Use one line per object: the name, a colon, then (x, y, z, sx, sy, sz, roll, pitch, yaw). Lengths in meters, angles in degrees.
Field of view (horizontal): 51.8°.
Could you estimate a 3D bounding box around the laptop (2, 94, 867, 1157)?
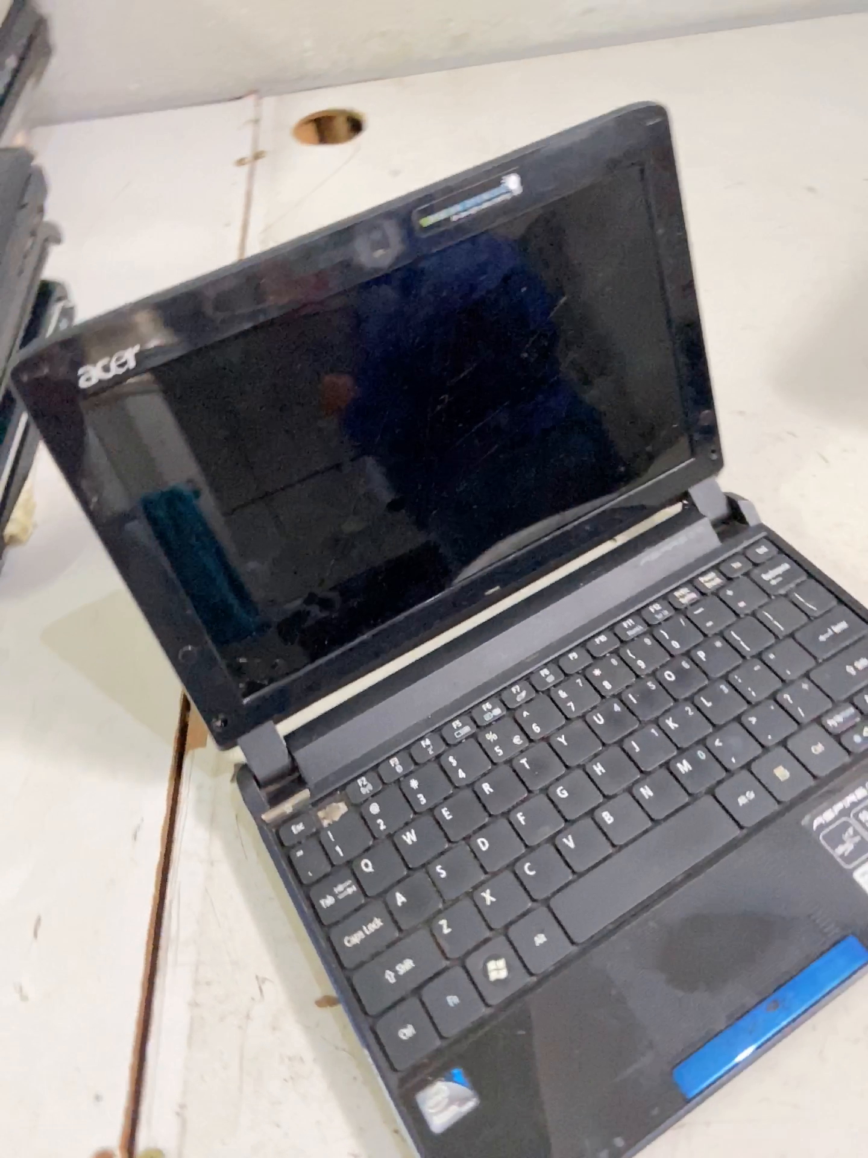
laptop: (0.047, 0.004, 0.295, 0.253, 0.144, 0.260, -28, 56, -14)
